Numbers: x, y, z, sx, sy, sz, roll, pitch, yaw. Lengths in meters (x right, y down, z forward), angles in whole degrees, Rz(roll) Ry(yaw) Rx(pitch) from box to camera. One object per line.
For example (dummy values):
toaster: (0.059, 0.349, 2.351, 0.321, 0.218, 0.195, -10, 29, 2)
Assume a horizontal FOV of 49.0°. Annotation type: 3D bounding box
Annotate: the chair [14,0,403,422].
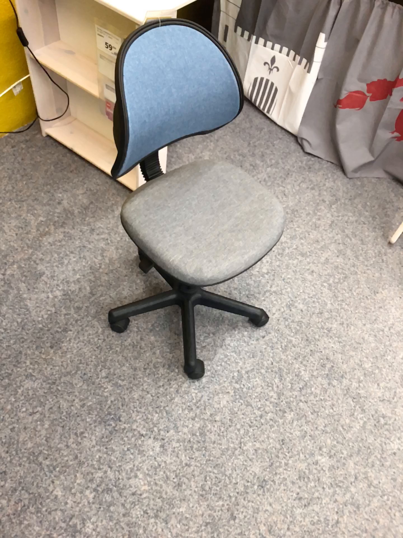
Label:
chair: (0.040, -0.148, 1.115, 0.560, 0.746, 0.603, 39, 58, 19)
